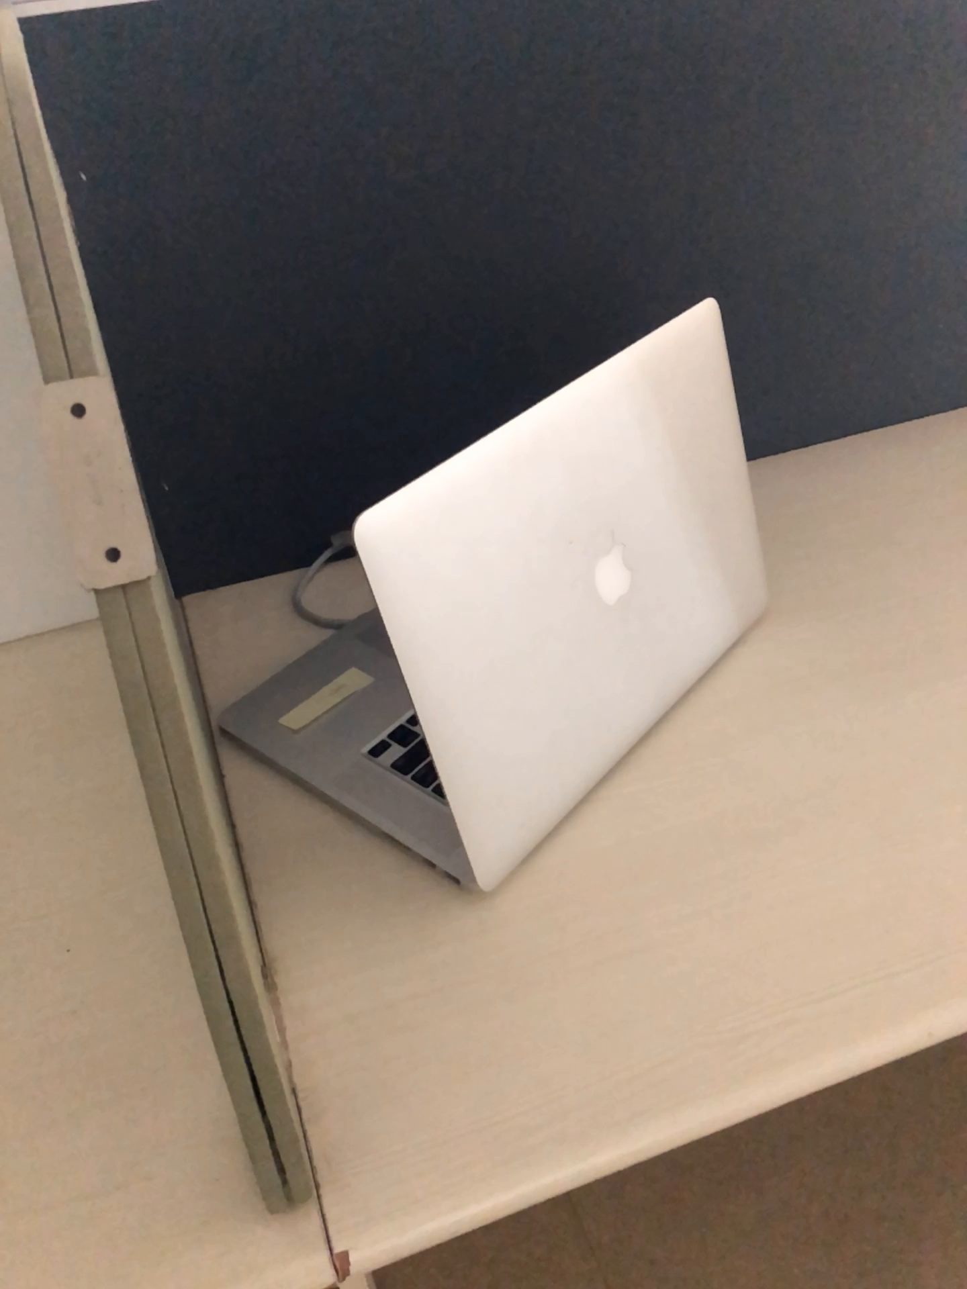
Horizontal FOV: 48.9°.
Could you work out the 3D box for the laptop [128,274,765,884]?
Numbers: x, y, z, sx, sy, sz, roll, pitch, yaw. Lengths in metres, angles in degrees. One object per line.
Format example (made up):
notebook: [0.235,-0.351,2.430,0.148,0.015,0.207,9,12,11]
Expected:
laptop: [-0.006,-0.071,0.726,0.244,0.232,0.323,24,46,32]
